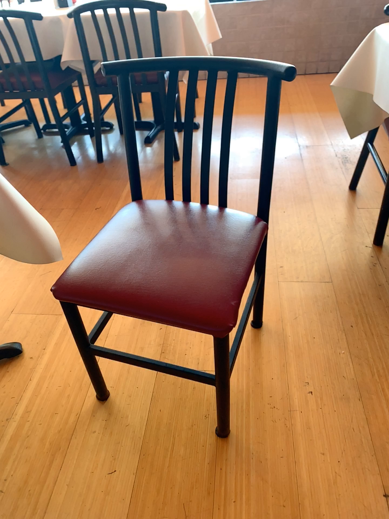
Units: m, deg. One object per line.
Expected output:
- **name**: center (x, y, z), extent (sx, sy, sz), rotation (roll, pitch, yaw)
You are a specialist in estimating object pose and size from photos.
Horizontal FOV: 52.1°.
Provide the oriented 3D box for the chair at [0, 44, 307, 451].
- **chair**: center (-0.054, -0.050, 0.970), extent (0.481, 0.725, 0.573), rotation (10, 41, 15)
